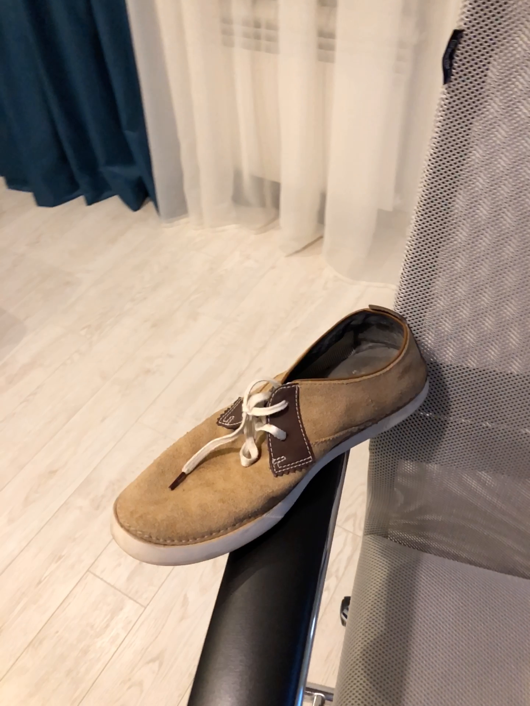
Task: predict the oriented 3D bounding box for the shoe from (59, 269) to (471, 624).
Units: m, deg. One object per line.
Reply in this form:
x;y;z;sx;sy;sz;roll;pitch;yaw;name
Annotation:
0.012;0.057;0.477;0.310;0.079;0.120;-31;52;-23;shoe
